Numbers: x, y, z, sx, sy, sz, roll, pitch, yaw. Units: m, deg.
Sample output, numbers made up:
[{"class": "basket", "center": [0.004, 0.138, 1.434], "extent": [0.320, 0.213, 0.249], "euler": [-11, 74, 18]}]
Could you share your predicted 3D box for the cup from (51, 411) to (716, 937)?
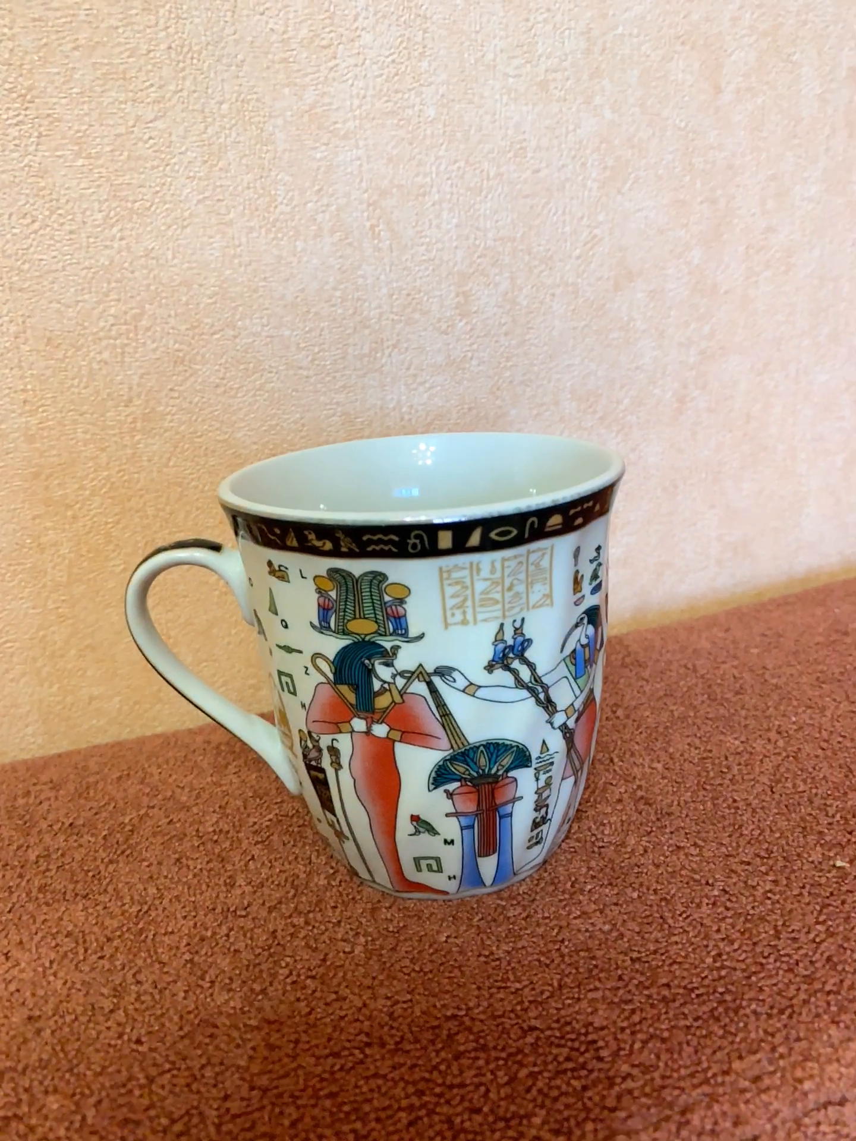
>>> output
[{"class": "cup", "center": [-0.005, 0.017, 0.209], "extent": [0.115, 0.087, 0.086], "euler": [-3, 20, 3]}]
